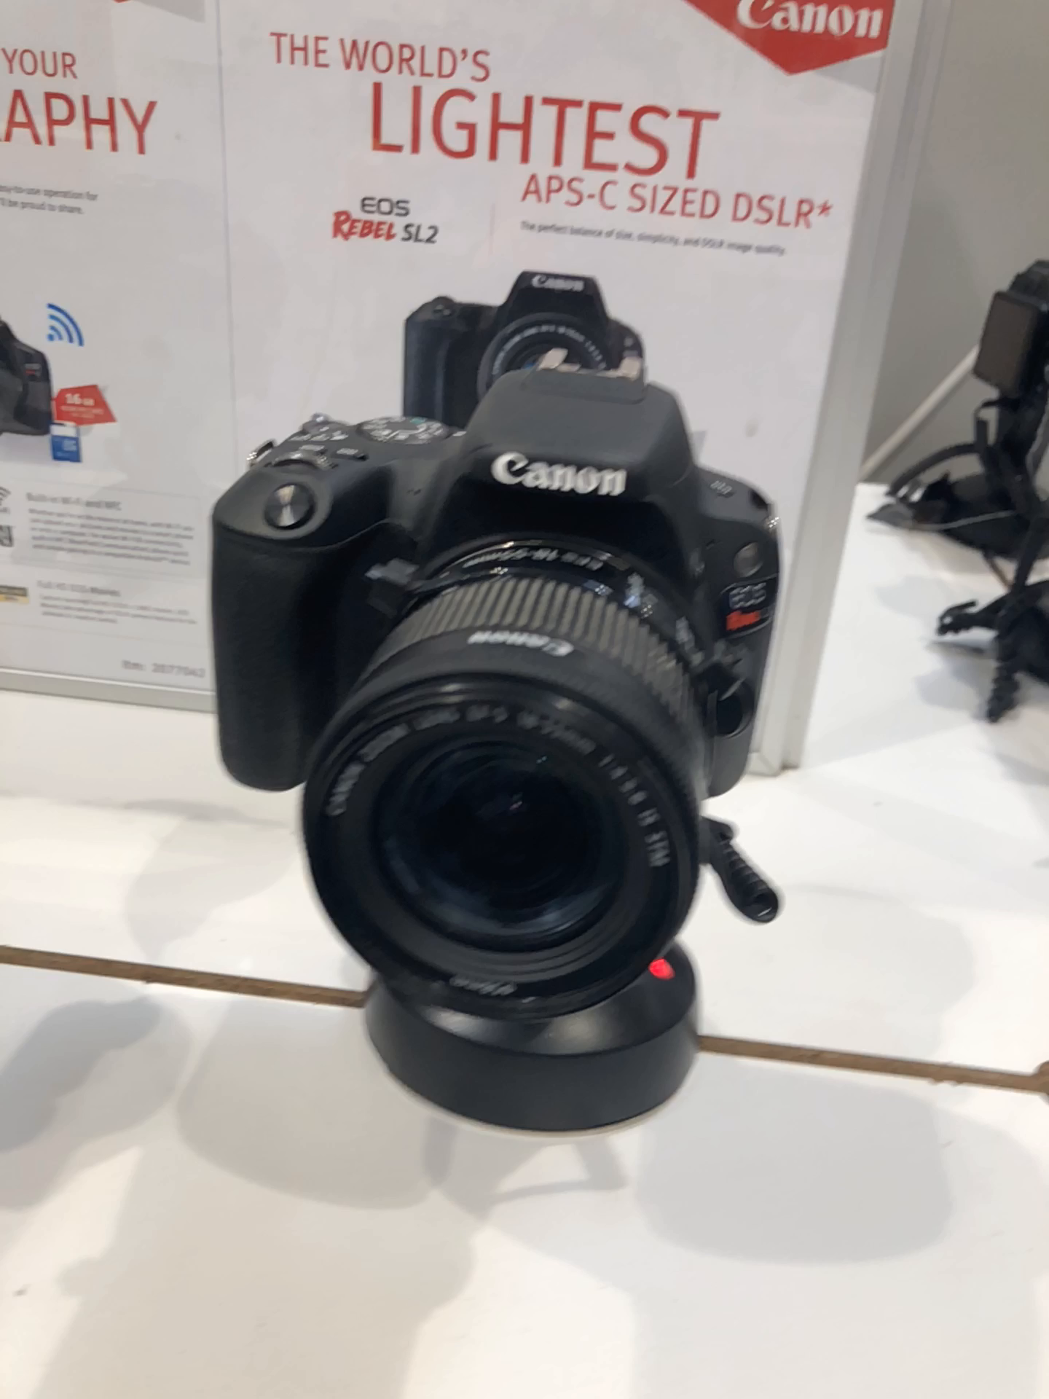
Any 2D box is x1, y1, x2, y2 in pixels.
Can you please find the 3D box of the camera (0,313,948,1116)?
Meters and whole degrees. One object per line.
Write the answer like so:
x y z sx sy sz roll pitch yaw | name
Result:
-0.007 -0.011 0.220 0.130 0.089 0.121 8 27 6 | camera
